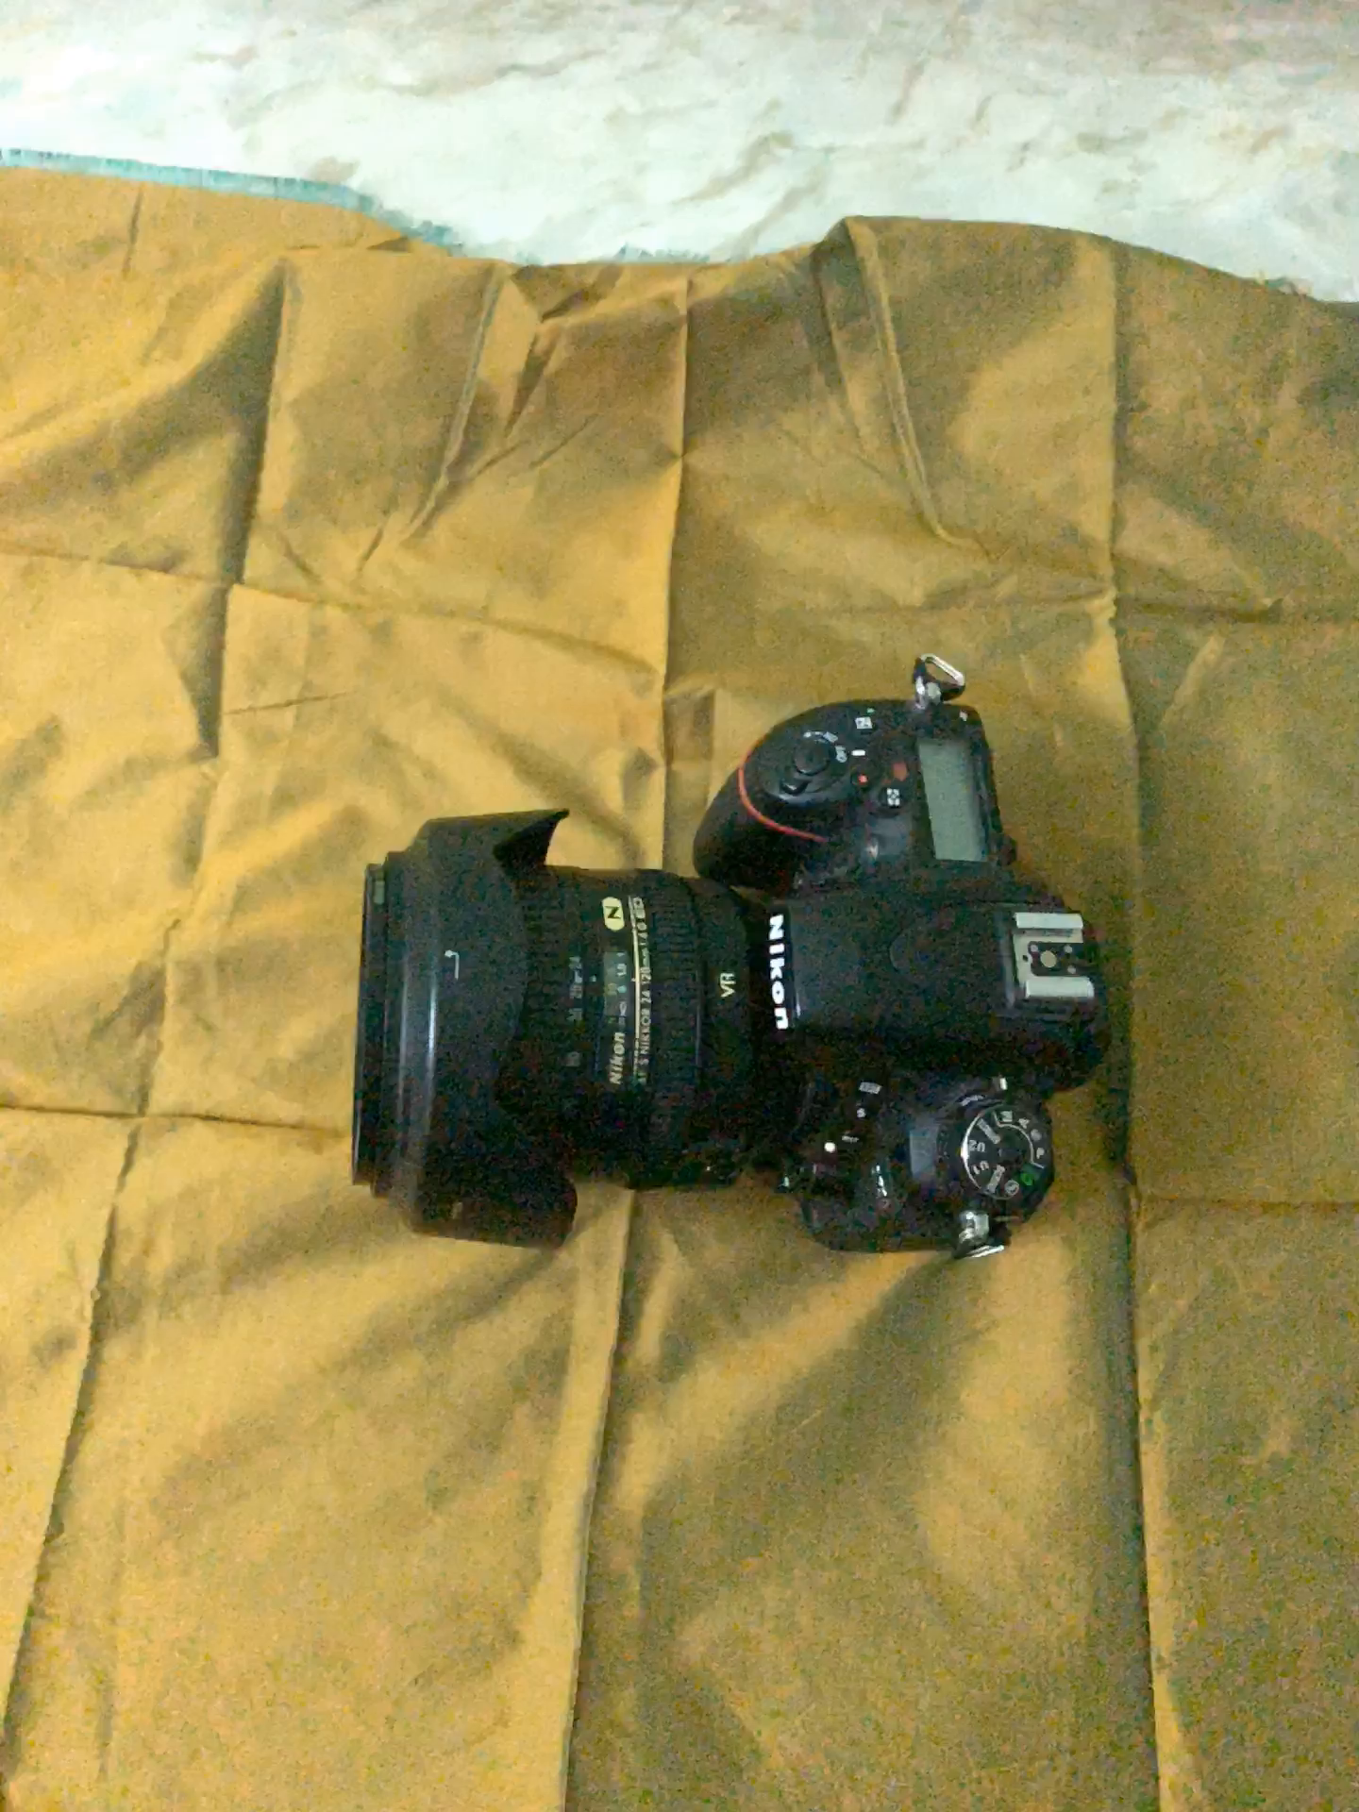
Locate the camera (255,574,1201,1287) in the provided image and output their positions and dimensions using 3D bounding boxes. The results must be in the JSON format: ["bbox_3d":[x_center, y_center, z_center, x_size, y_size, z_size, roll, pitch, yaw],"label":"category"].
[{"bbox_3d":[0.006,0.016,0.347,0.192,0.100,0.140,4,69,-11],"label":"camera"}]
